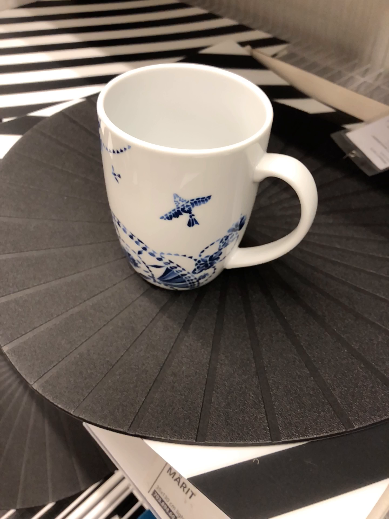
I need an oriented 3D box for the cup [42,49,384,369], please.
[{"bbox_3d":[0.010,-0.034,0.245,0.130,0.100,0.100,27,50,21],"label":"cup"}]
